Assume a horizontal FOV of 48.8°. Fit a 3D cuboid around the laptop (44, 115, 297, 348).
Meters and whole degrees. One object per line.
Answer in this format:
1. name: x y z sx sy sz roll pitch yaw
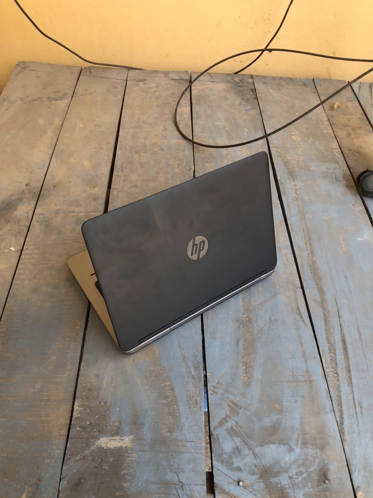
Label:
1. laptop: -0.025 -0.042 0.686 0.317 0.196 0.211 -26 55 -24
